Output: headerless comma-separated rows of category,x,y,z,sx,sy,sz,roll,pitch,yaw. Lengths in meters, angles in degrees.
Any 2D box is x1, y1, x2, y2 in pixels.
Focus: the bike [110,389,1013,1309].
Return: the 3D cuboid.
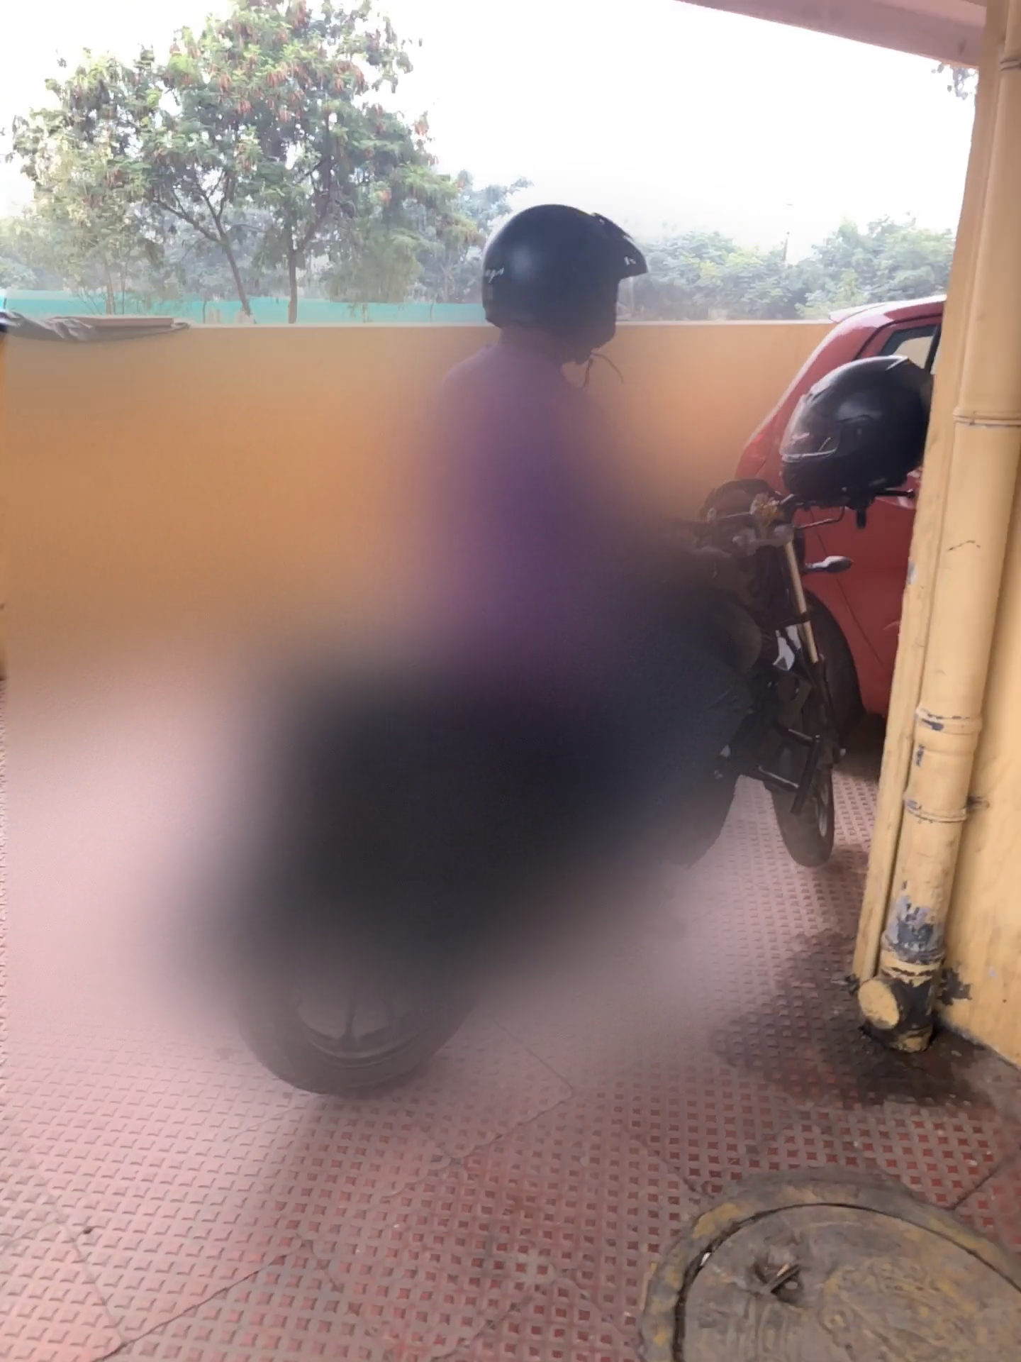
bike,0.241,0.062,2.474,0.855,1.156,1.909,18,27,40
